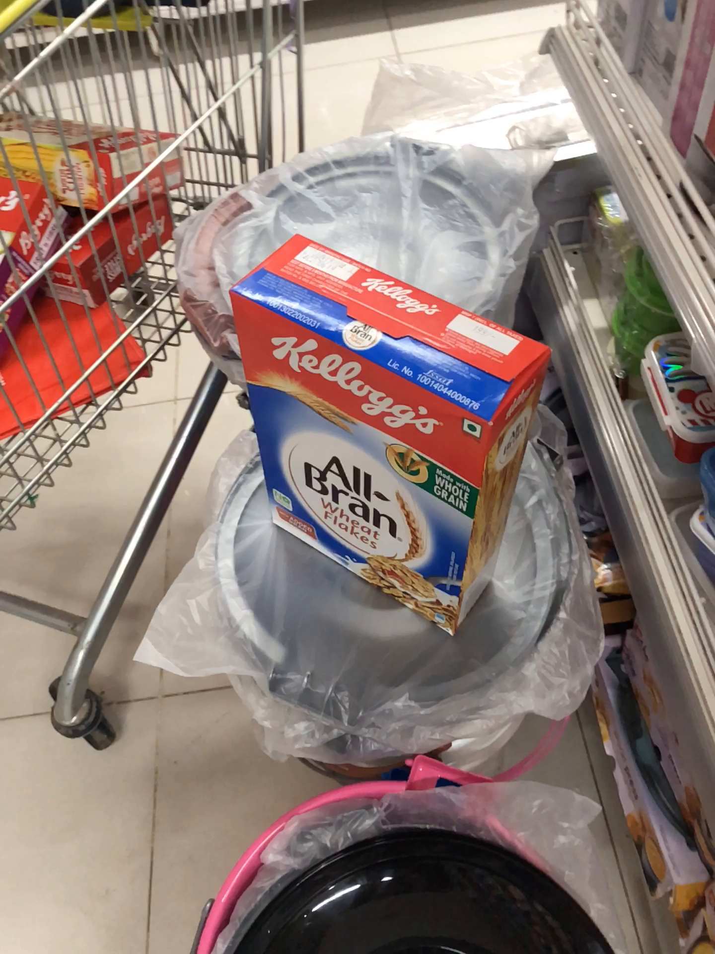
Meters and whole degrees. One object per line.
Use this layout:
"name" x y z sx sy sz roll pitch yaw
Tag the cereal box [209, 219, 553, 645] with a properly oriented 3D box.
"cereal box" 0.014 -0.017 0.557 0.190 0.269 0.070 30 60 22
